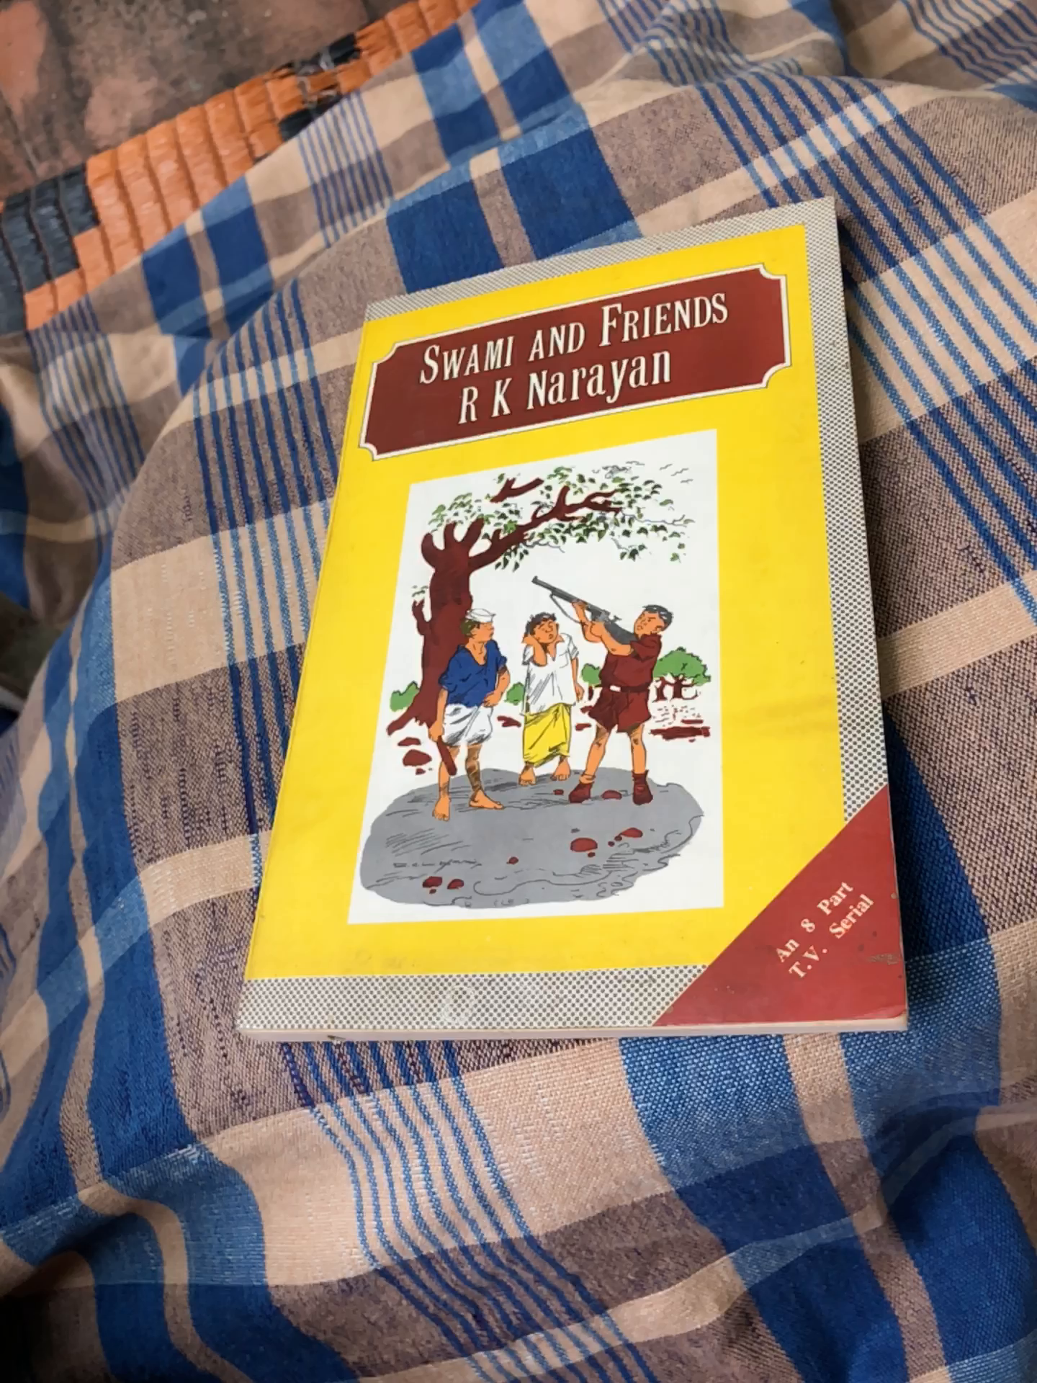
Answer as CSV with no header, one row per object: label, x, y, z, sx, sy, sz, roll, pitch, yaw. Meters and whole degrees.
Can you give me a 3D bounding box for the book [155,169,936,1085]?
book,0.008,-0.021,0.239,0.130,0.020,0.190,-6,59,20
